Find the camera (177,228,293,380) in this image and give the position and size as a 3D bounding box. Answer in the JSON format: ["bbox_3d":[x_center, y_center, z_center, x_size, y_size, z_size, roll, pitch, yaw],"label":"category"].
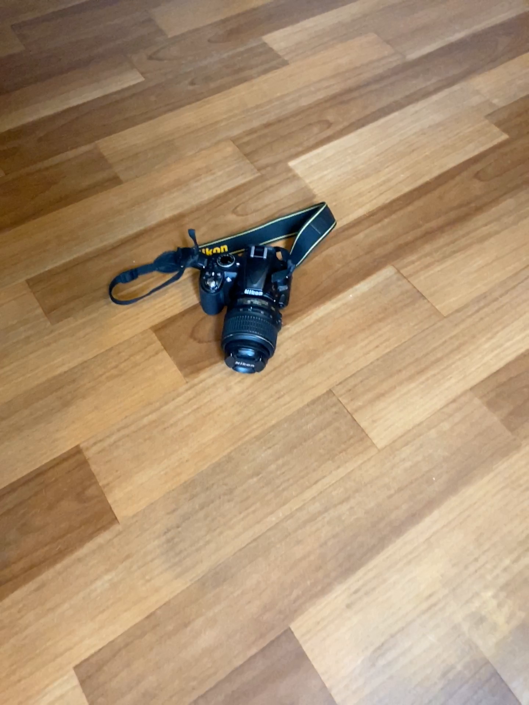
[{"bbox_3d":[-0.032,-0.063,0.696,0.120,0.090,0.162,6,61,2],"label":"camera"}]
